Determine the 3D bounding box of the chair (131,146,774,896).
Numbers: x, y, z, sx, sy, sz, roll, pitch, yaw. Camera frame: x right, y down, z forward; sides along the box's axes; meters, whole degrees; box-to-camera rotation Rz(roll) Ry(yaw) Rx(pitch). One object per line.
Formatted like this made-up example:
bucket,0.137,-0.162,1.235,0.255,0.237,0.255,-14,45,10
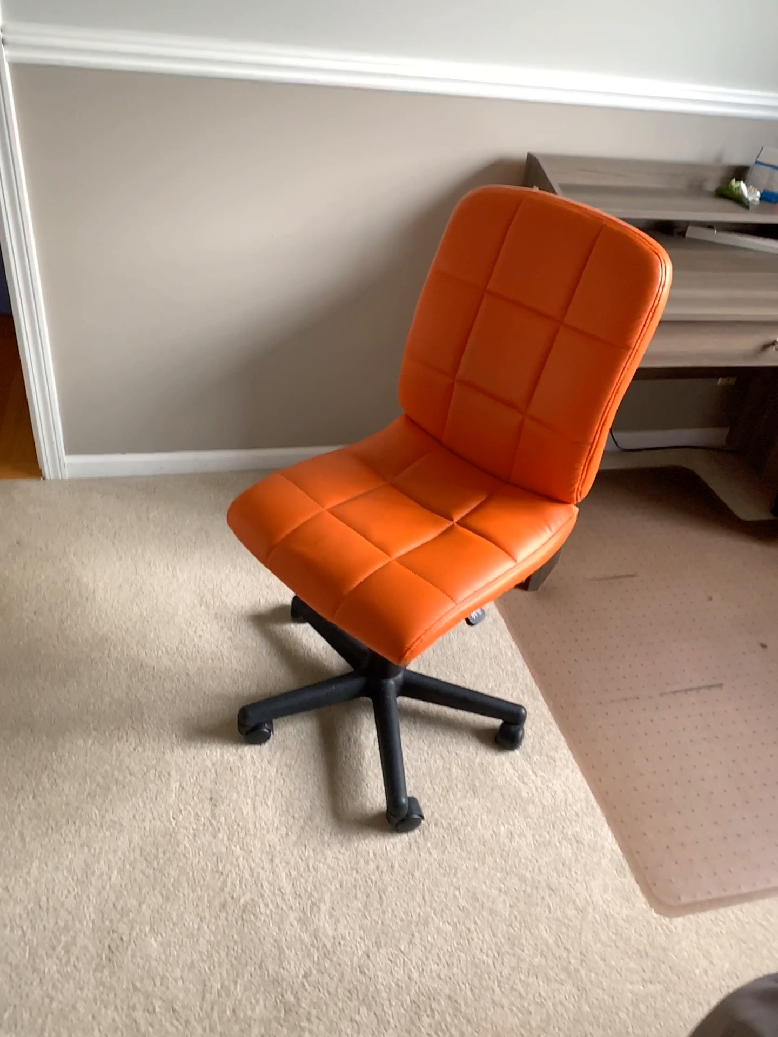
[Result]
chair,0.033,-0.033,1.292,0.601,0.903,0.595,-23,46,-35
